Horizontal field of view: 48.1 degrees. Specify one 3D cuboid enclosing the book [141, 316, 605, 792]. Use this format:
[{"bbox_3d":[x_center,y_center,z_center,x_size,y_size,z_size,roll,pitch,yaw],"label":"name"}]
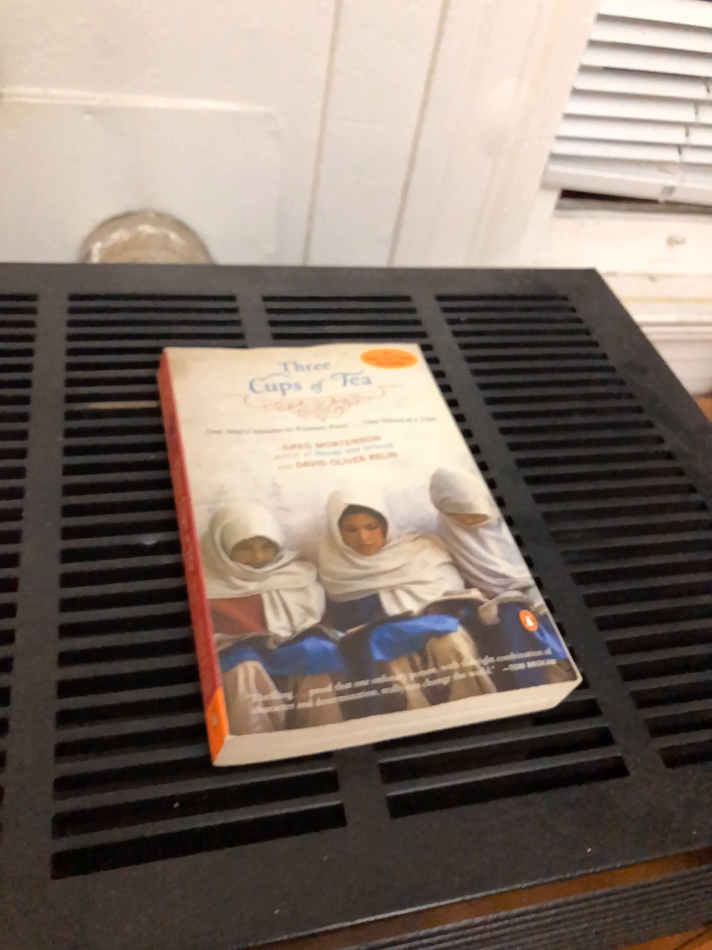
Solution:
[{"bbox_3d":[-0.010,0.010,0.347,0.140,0.030,0.221,-6,47,-17],"label":"book"}]
